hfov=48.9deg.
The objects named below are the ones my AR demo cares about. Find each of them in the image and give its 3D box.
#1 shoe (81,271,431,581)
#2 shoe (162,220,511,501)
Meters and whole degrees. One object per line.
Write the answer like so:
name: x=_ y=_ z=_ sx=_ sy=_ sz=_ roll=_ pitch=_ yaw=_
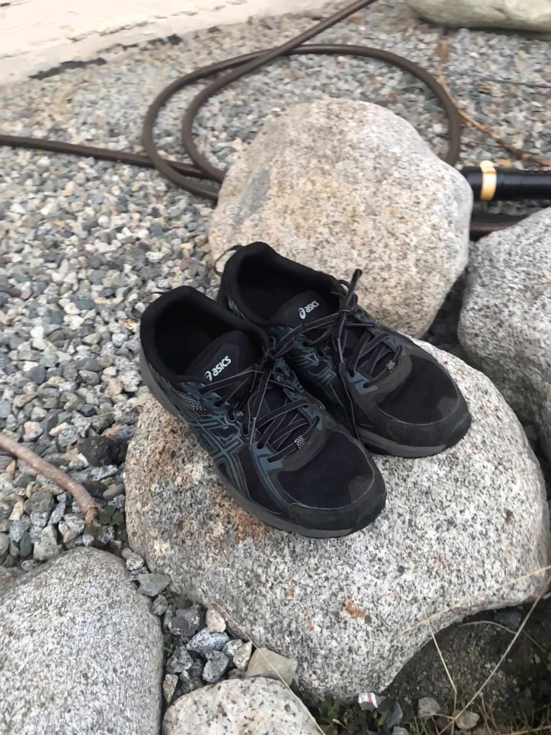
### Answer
shoe: x=-0.024 y=0.034 z=0.531 sx=0.281 sy=0.099 sz=0.120 roll=30 pitch=55 yaw=31
shoe: x=0.044 y=-0.023 z=0.564 sx=0.291 sy=0.099 sz=0.120 roll=30 pitch=55 yaw=31
